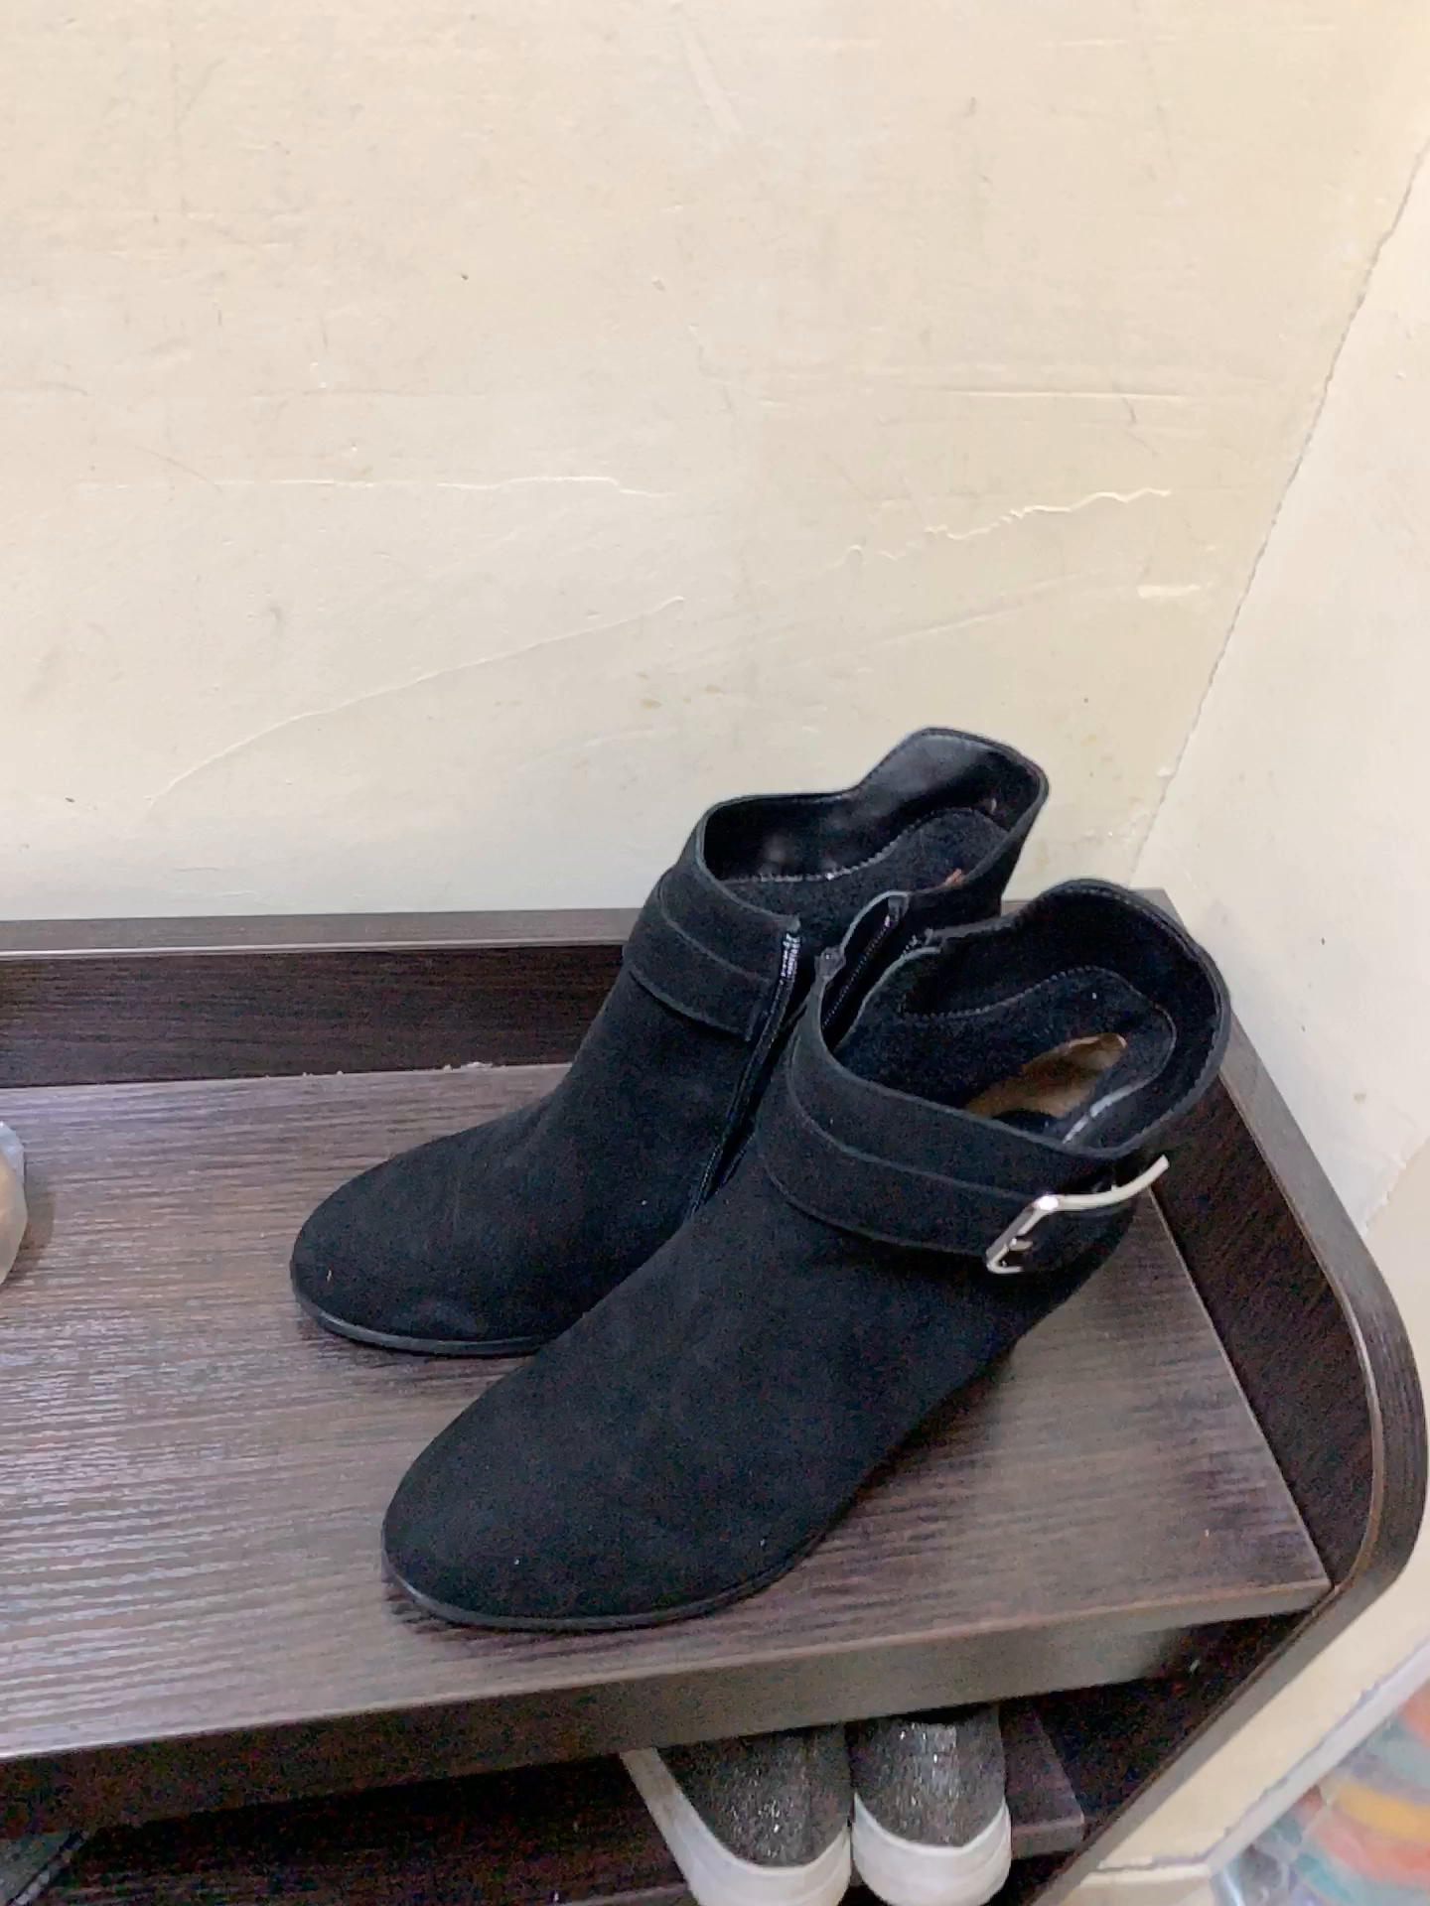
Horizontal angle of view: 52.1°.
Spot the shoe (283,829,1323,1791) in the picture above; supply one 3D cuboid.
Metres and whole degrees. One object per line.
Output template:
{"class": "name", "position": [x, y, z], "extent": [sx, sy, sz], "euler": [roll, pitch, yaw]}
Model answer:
{"class": "shoe", "position": [0.019, 0.093, 0.407], "extent": [0.240, 0.189, 0.088], "euler": [-17, 48, -28]}

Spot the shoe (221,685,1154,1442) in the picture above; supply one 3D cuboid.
{"class": "shoe", "position": [-0.015, 0.032, 0.461], "extent": [0.240, 0.189, 0.089], "euler": [-10, 45, -21]}
